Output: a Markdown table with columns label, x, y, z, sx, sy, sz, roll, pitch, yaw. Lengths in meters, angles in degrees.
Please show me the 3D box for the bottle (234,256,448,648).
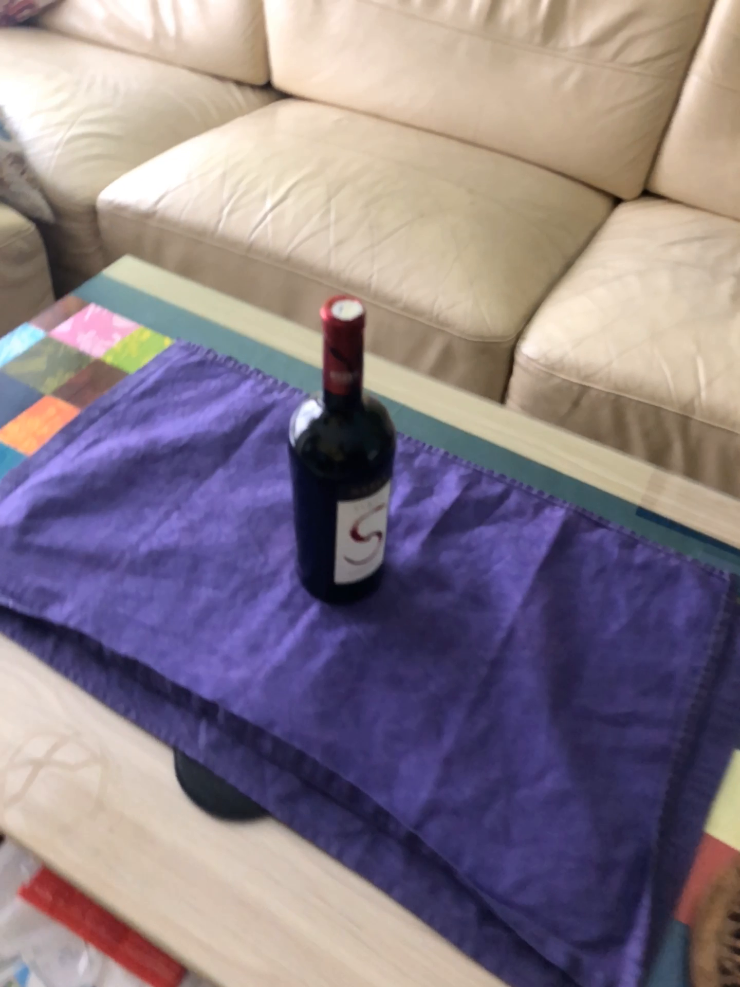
| label | x | y | z | sx | sy | sz | roll | pitch | yaw |
| --- | --- | --- | --- | --- | --- | --- | --- | --- | --- |
| bottle | -0.023 | -0.016 | 0.578 | 0.090 | 0.269 | 0.090 | 2 | 47 | -2 |
